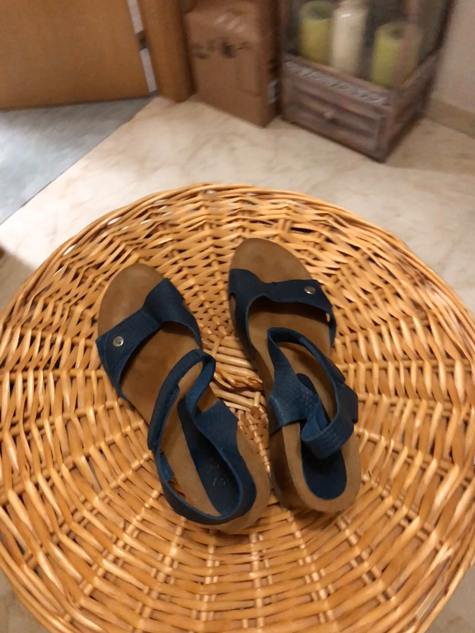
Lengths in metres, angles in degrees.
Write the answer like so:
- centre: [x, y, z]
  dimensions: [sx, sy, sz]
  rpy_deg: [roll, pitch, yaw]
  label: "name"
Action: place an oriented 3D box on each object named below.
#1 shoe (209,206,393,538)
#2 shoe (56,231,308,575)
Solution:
- centre: [0.045, 0.035, 0.467]
  dimensions: [0.090, 0.060, 0.281]
  rpy_deg: [-14, 58, 4]
  label: "shoe"
- centre: [-0.056, 0.058, 0.447]
  dimensions: [0.090, 0.060, 0.281]
  rpy_deg: [-30, 61, -6]
  label: "shoe"
